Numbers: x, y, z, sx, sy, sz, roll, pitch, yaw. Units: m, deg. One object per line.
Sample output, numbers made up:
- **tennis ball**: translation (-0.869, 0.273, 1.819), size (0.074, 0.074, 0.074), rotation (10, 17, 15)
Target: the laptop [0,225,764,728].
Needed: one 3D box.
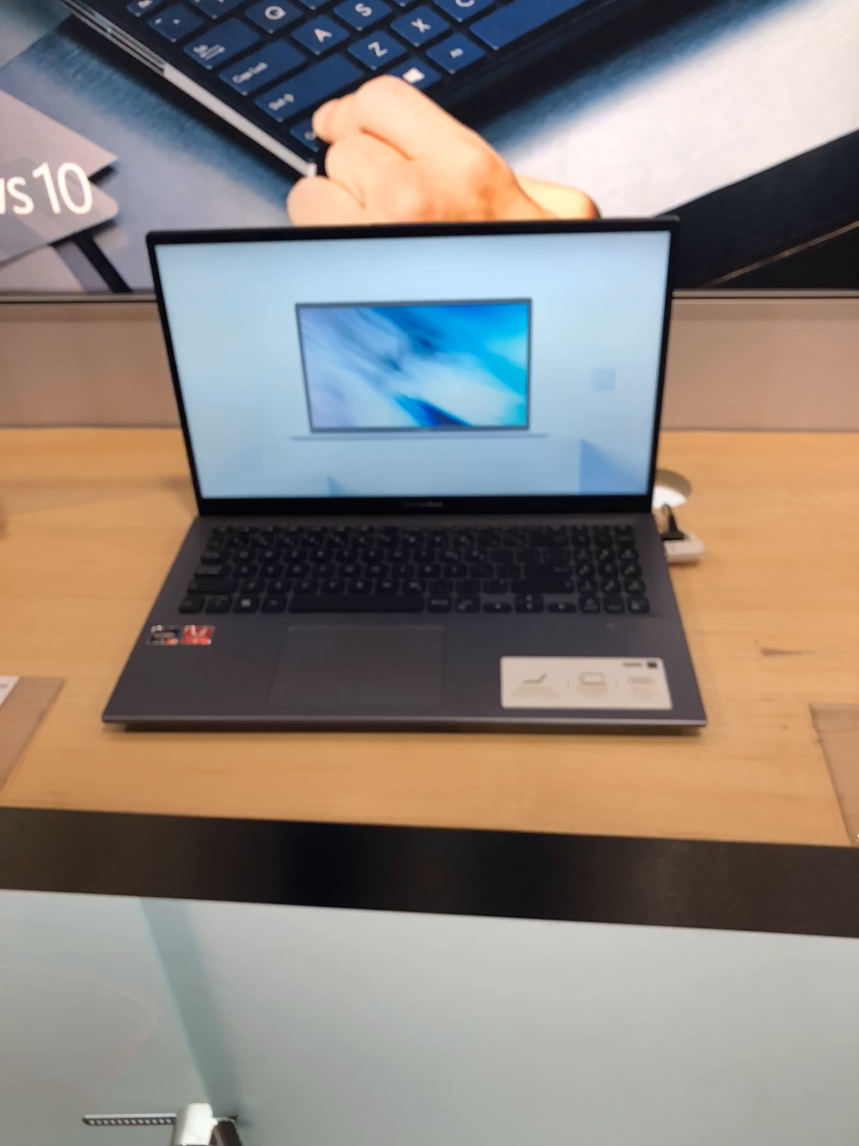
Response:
- **laptop**: translation (-0.017, -0.069, 0.590), size (0.349, 0.211, 0.243), rotation (0, 35, 5)
